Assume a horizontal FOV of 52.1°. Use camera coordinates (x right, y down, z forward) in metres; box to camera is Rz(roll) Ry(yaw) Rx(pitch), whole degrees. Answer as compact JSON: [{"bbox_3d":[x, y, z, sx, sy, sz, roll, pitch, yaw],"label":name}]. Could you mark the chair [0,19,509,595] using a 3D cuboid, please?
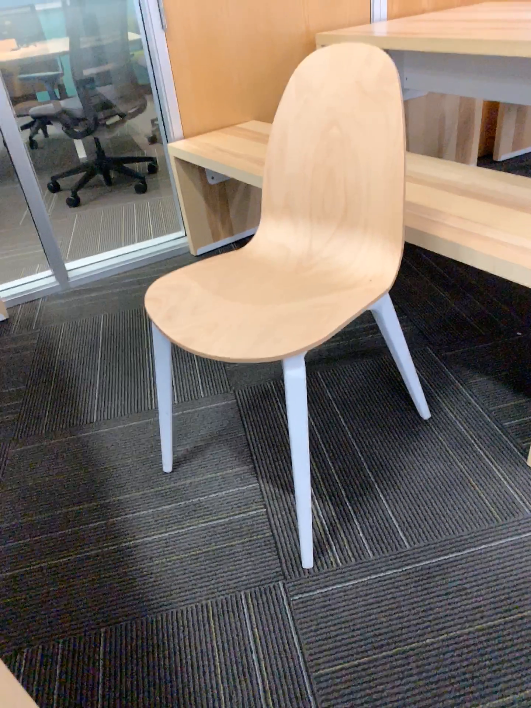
[{"bbox_3d":[0.043,-0.142,1.053,0.522,0.765,0.651,19,42,34],"label":"chair"}]
